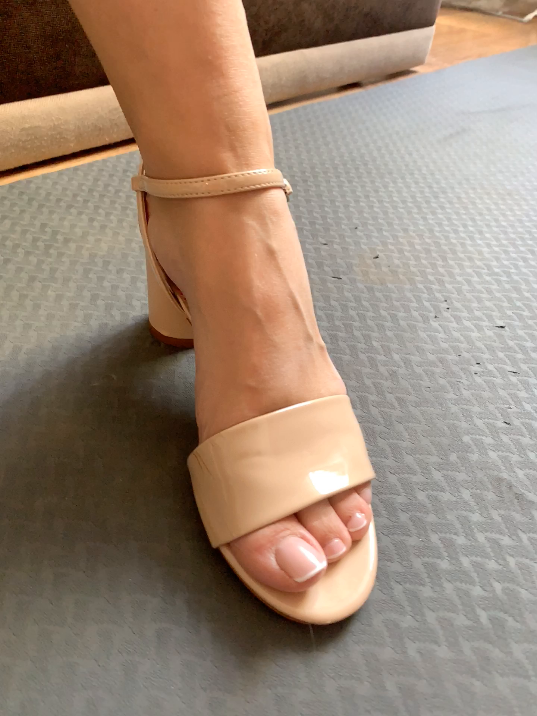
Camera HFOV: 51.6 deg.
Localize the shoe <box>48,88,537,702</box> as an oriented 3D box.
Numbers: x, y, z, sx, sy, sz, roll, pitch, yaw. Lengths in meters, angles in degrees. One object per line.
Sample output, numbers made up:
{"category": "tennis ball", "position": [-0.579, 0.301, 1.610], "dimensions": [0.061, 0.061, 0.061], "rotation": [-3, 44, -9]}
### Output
{"category": "shoe", "position": [-0.022, -0.019, 0.246], "dimensions": [0.090, 0.119, 0.251], "rotation": [-13, 43, -21]}
